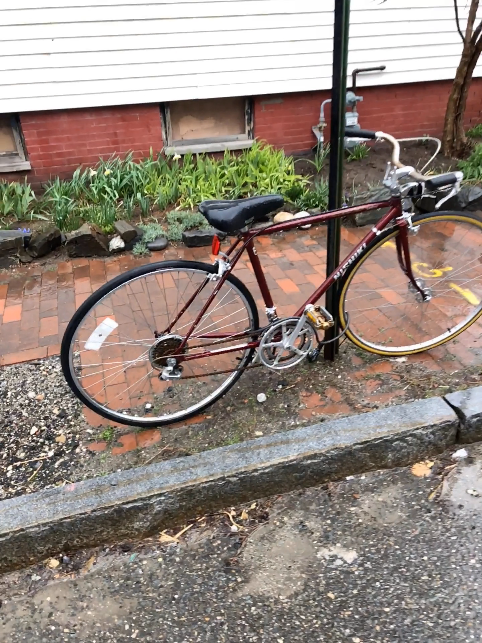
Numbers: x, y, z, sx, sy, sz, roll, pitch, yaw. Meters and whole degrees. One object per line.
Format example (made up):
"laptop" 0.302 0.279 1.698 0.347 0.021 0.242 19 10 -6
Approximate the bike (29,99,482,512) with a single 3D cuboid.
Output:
"bike" 0.246 -0.120 1.729 1.606 0.907 0.502 -12 30 -13
